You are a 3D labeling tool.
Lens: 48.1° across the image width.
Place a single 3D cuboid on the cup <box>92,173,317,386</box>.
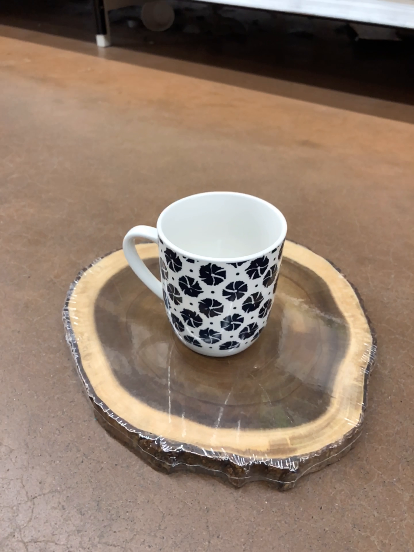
[{"bbox_3d":[0.002,-0.001,0.342,0.130,0.100,0.090,11,39,12],"label":"cup"}]
